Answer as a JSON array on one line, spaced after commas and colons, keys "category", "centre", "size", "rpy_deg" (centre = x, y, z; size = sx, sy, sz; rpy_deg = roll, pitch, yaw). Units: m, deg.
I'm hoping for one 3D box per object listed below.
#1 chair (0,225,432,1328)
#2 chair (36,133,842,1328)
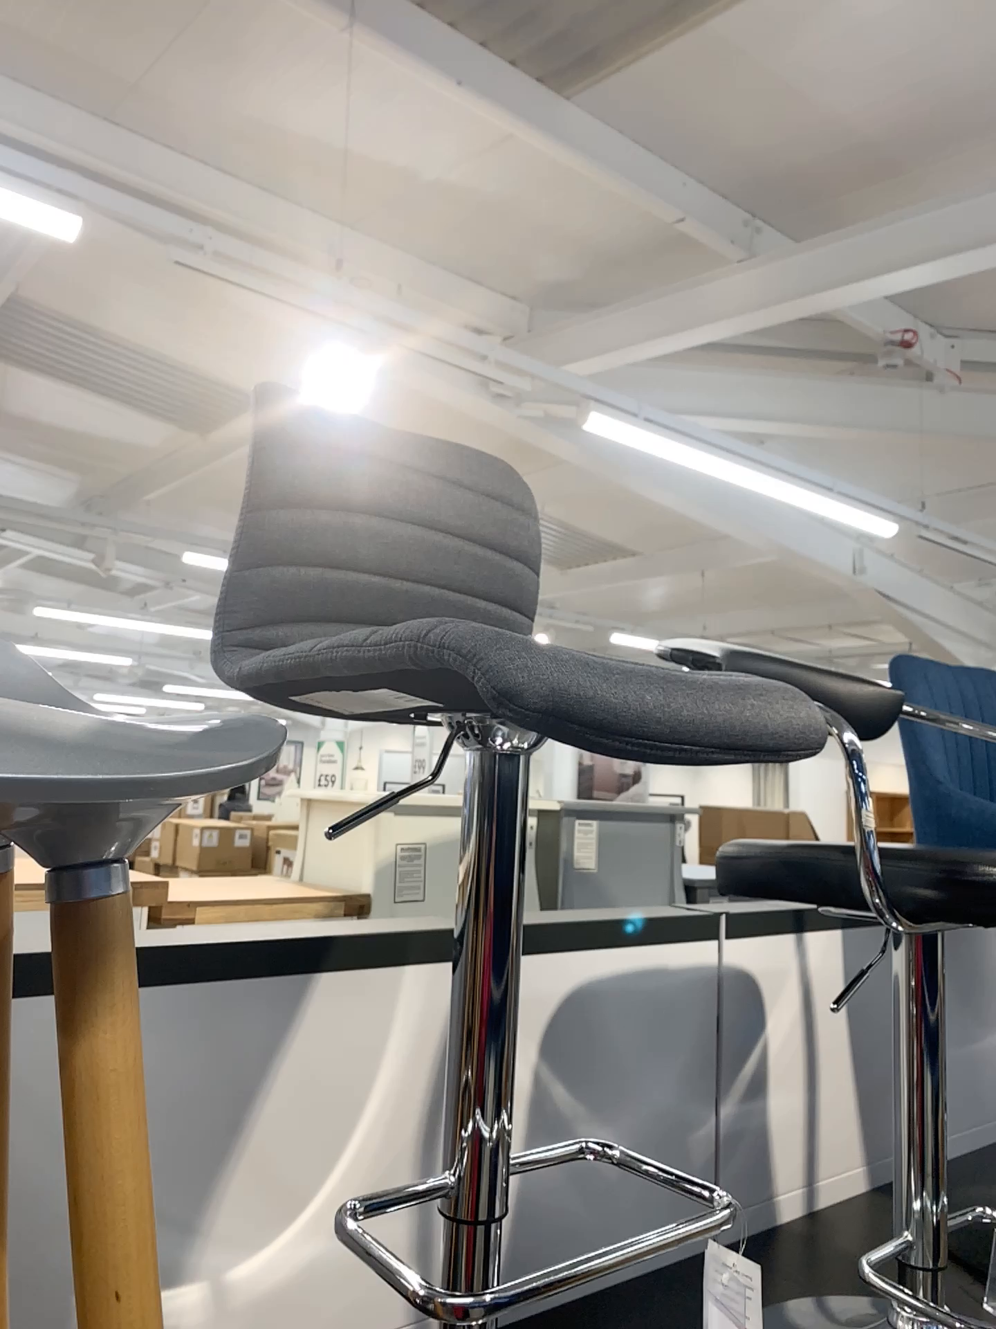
[{"category": "chair", "centre": [-0.363, 0.318, 0.462], "size": [0.445, 0.743, 0.452], "rpy_deg": [9, -10, -43]}, {"category": "chair", "centre": [-0.032, 0.220, 0.875], "size": [0.445, 1.034, 0.452], "rpy_deg": [9, -10, -43]}]
